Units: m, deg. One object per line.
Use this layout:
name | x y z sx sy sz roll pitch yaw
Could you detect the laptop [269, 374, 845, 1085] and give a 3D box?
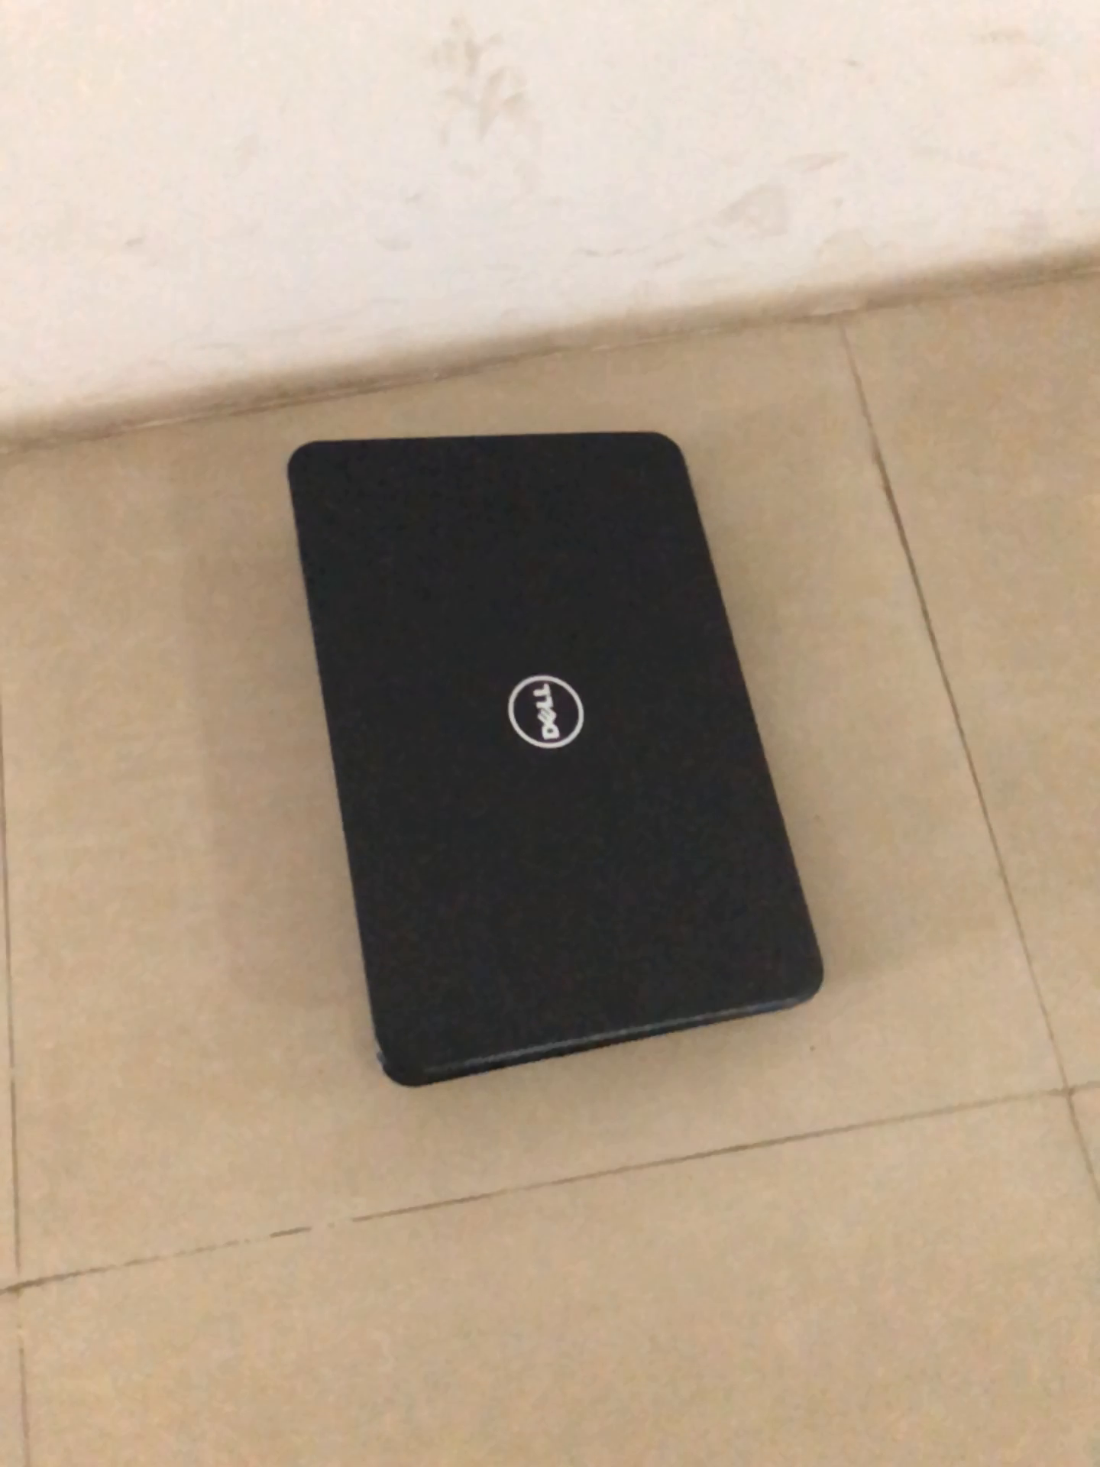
laptop | -0.007 -0.007 0.701 0.247 0.078 0.357 -12 73 0
